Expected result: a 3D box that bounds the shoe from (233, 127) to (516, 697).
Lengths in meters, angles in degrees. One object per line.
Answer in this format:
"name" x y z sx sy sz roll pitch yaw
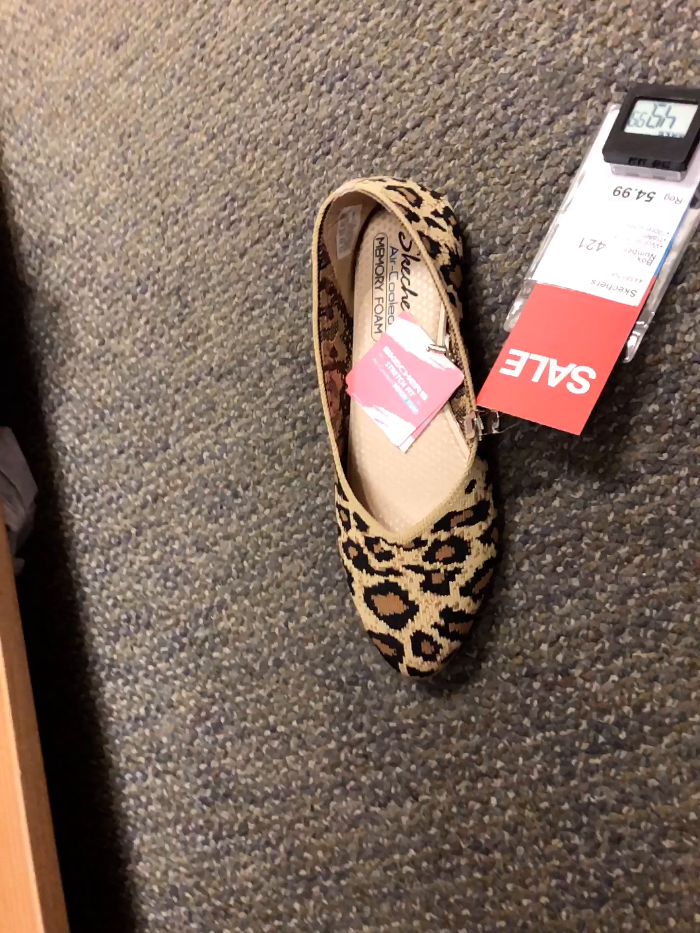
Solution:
"shoe" 0.007 -0.018 0.359 0.105 0.056 0.232 -9 80 33
